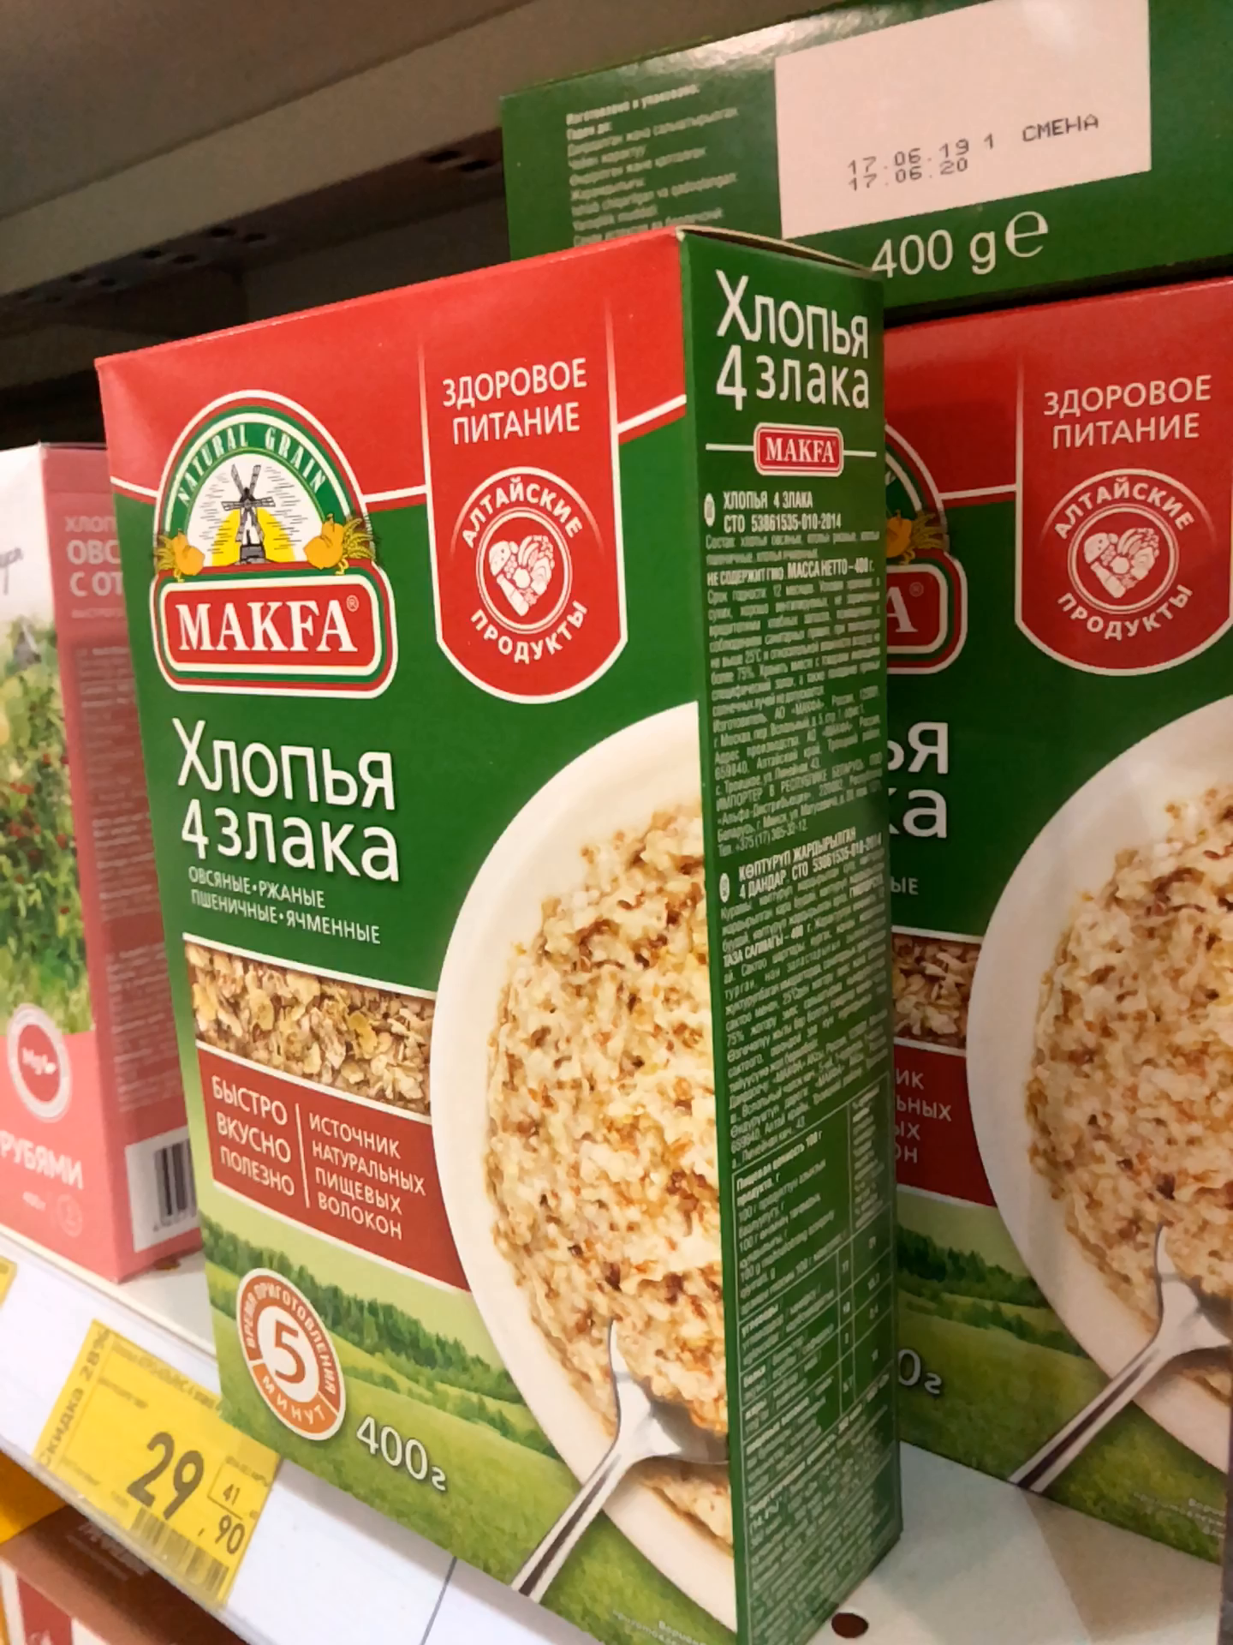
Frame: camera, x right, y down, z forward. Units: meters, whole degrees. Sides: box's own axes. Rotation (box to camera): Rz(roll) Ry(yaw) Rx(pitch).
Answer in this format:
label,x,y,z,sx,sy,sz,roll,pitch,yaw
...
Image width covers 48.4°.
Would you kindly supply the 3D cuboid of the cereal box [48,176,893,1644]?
label,x,y,z,sx,sy,sz,roll,pitch,yaw
cereal box,-0.028,0.017,0.242,0.140,0.209,0.050,6,13,38
